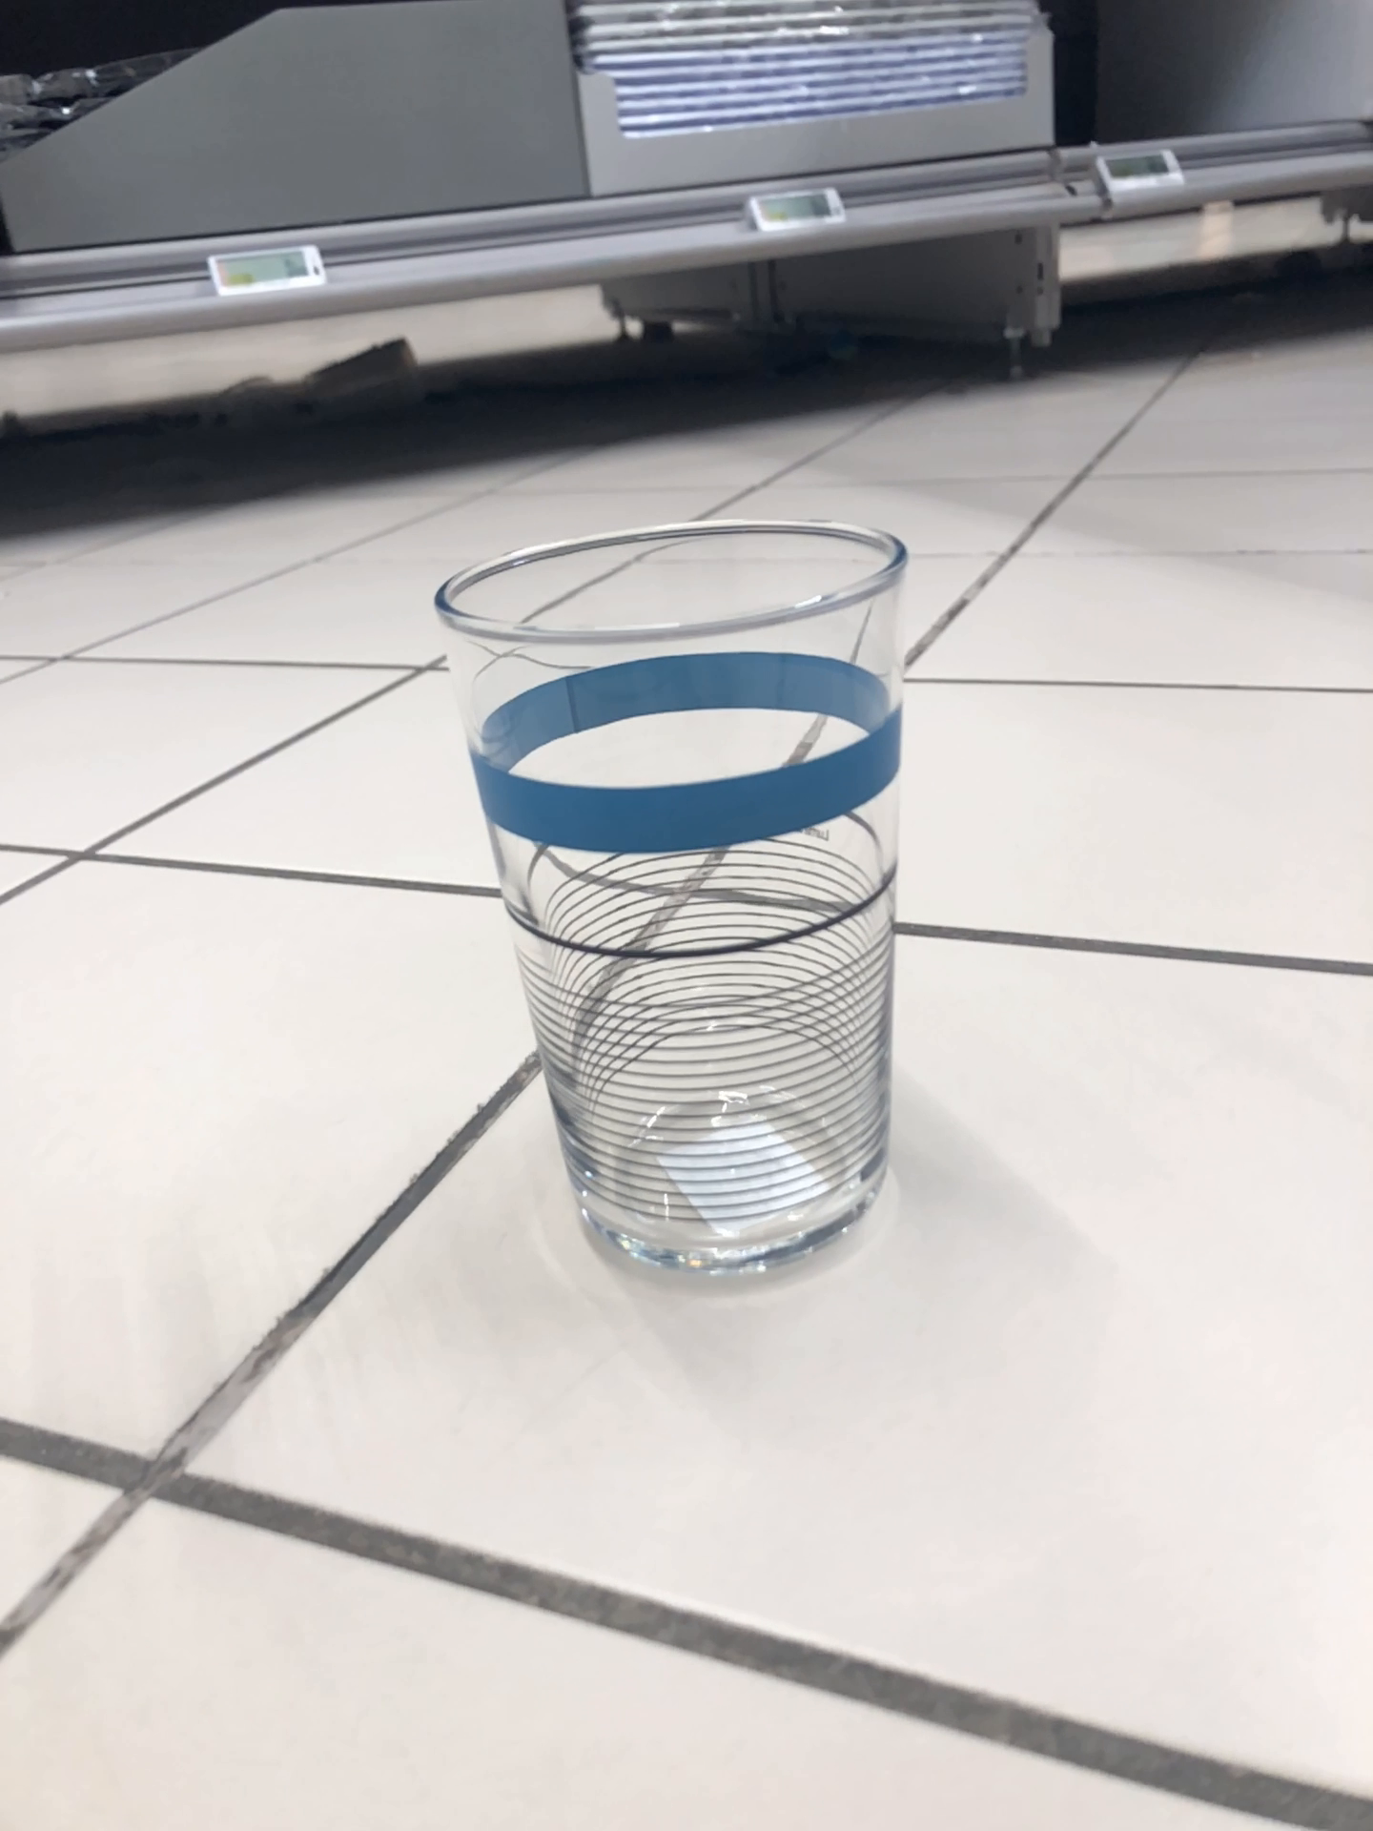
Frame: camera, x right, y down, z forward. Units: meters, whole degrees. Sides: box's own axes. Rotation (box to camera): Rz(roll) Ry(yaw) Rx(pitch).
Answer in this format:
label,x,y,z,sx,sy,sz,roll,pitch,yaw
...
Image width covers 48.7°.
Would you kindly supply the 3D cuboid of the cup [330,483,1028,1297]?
label,x,y,z,sx,sy,sz,roll,pitch,yaw
cup,0.007,-0.010,0.249,0.079,0.102,0.080,-5,24,2
